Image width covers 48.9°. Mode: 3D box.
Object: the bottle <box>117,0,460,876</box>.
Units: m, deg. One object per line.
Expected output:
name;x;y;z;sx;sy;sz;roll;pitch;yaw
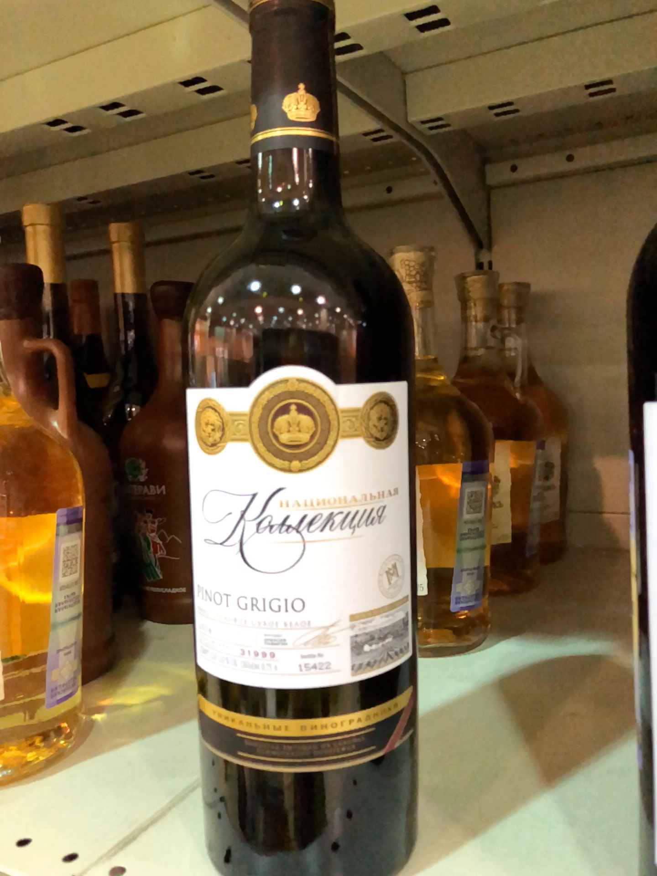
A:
bottle;-0.008;-0.013;0.263;0.090;0.320;0.090;-2;3;0
